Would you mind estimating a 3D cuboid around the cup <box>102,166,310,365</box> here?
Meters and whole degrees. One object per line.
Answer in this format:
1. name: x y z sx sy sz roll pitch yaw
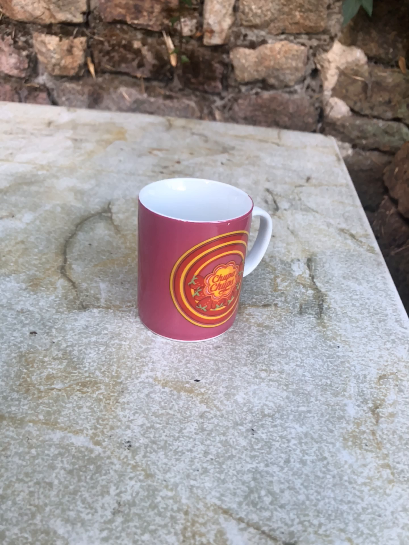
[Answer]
1. cup: 0.000 -0.013 0.322 0.116 0.089 0.076 -20 39 -34
